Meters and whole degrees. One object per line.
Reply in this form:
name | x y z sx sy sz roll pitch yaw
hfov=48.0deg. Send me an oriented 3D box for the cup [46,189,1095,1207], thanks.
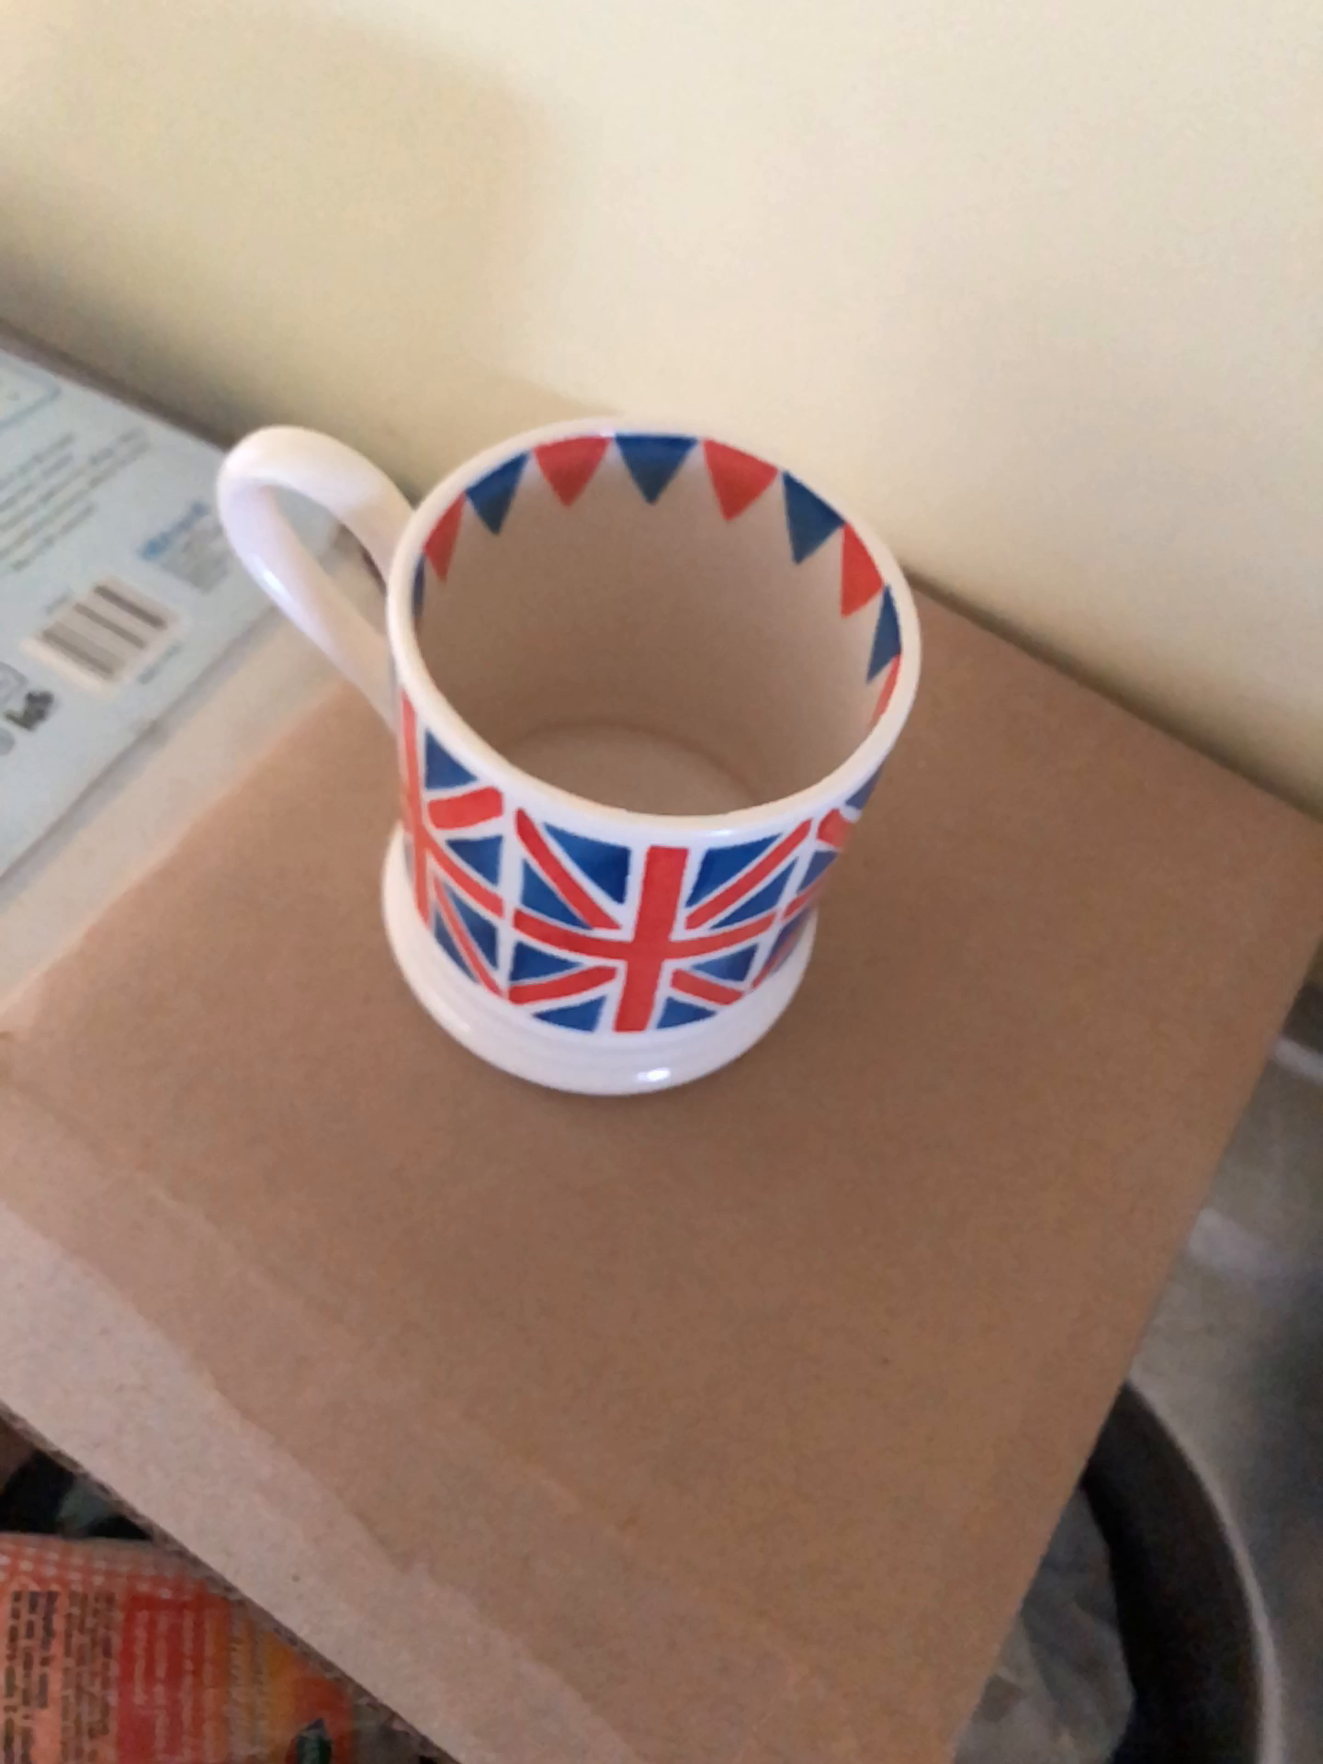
cup | -0.015 -0.033 0.275 0.130 0.100 0.100 32 61 13
